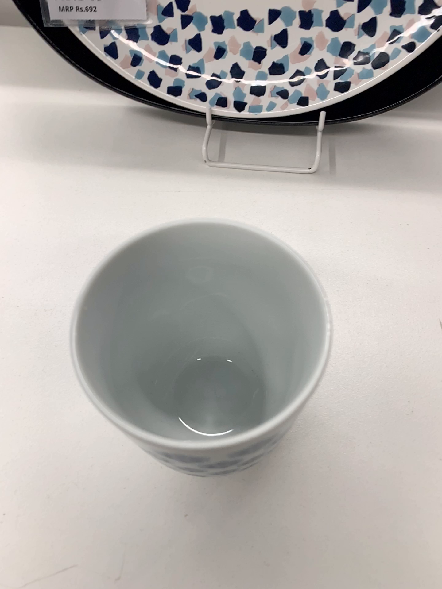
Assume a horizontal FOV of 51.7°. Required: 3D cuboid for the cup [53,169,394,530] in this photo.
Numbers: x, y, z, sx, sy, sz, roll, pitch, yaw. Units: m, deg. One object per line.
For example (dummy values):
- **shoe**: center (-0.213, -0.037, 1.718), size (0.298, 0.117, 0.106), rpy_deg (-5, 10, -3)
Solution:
- **cup**: center (-0.004, 0.022, 0.158), size (0.070, 0.080, 0.080), rpy_deg (-18, 59, -10)
